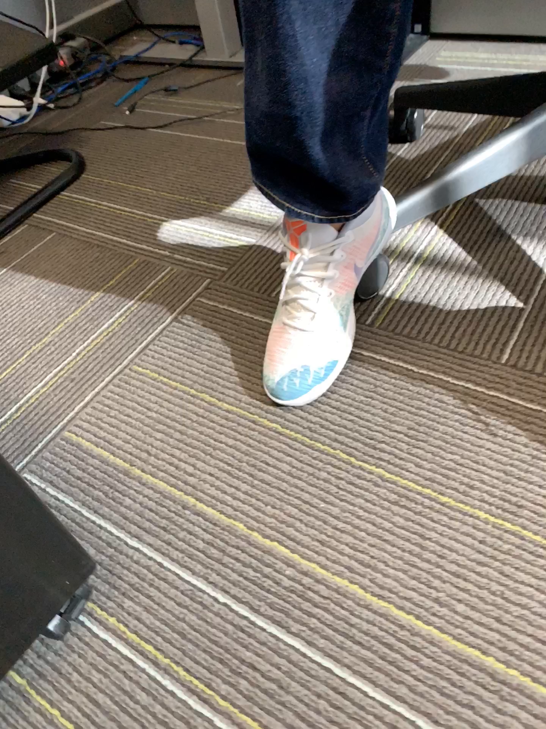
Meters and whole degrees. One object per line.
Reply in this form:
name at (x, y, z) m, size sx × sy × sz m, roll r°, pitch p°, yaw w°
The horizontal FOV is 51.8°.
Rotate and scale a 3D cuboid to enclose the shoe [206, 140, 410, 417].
shoe at (0.056, -0.108, 0.627) m, size 0.107 × 0.109 × 0.303 m, roll 13°, pitch 59°, yaw 24°
